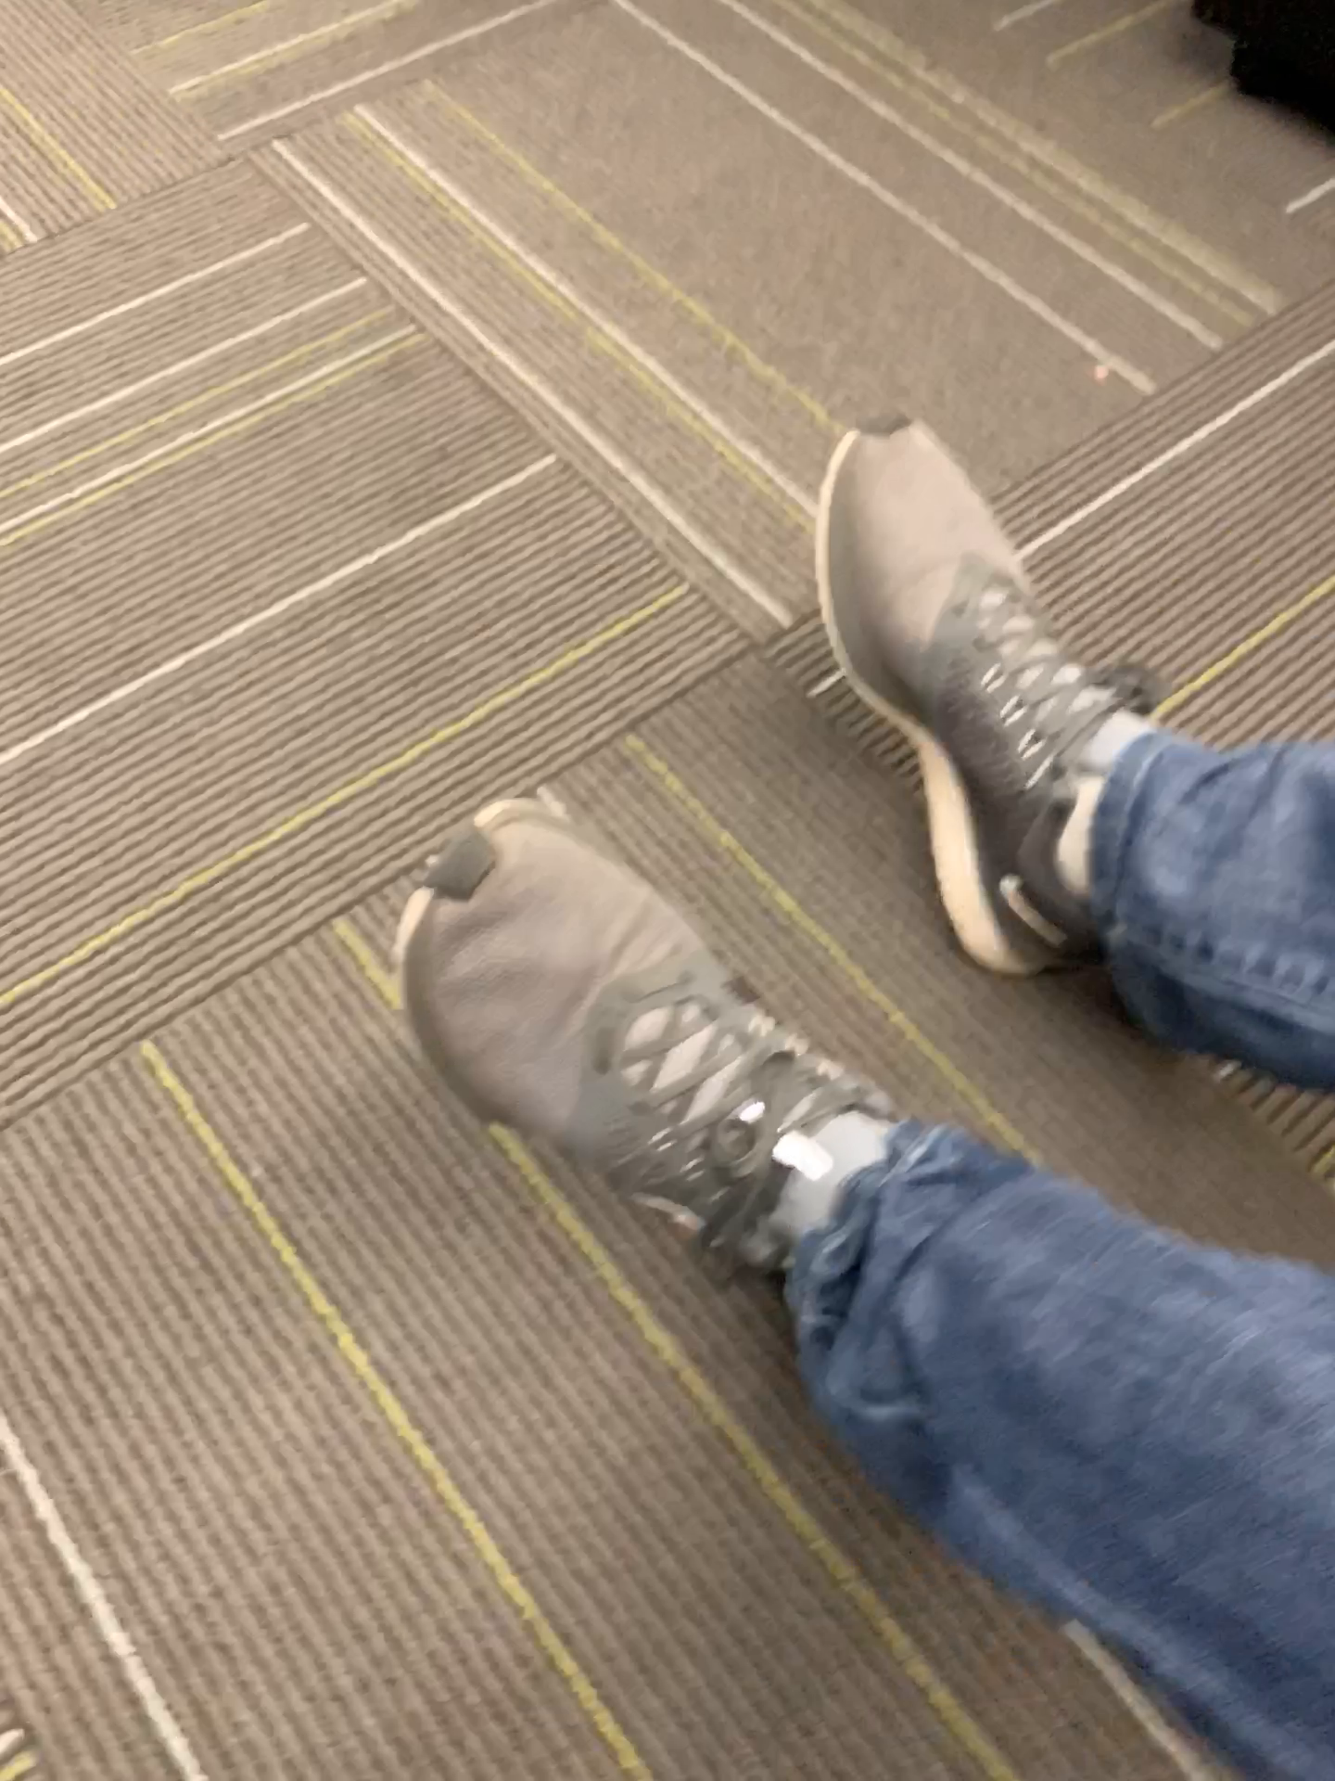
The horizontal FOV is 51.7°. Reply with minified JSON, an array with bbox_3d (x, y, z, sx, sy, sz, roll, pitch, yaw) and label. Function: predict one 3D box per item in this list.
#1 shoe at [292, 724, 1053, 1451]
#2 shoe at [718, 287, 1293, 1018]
[{"bbox_3d":[0.020,0.084,0.534,0.122,0.293,0.119,15,64,46],"label":"shoe"},{"bbox_3d":[0.160,-0.102,0.654,0.119,0.122,0.294,-31,103,-23],"label":"shoe"}]
